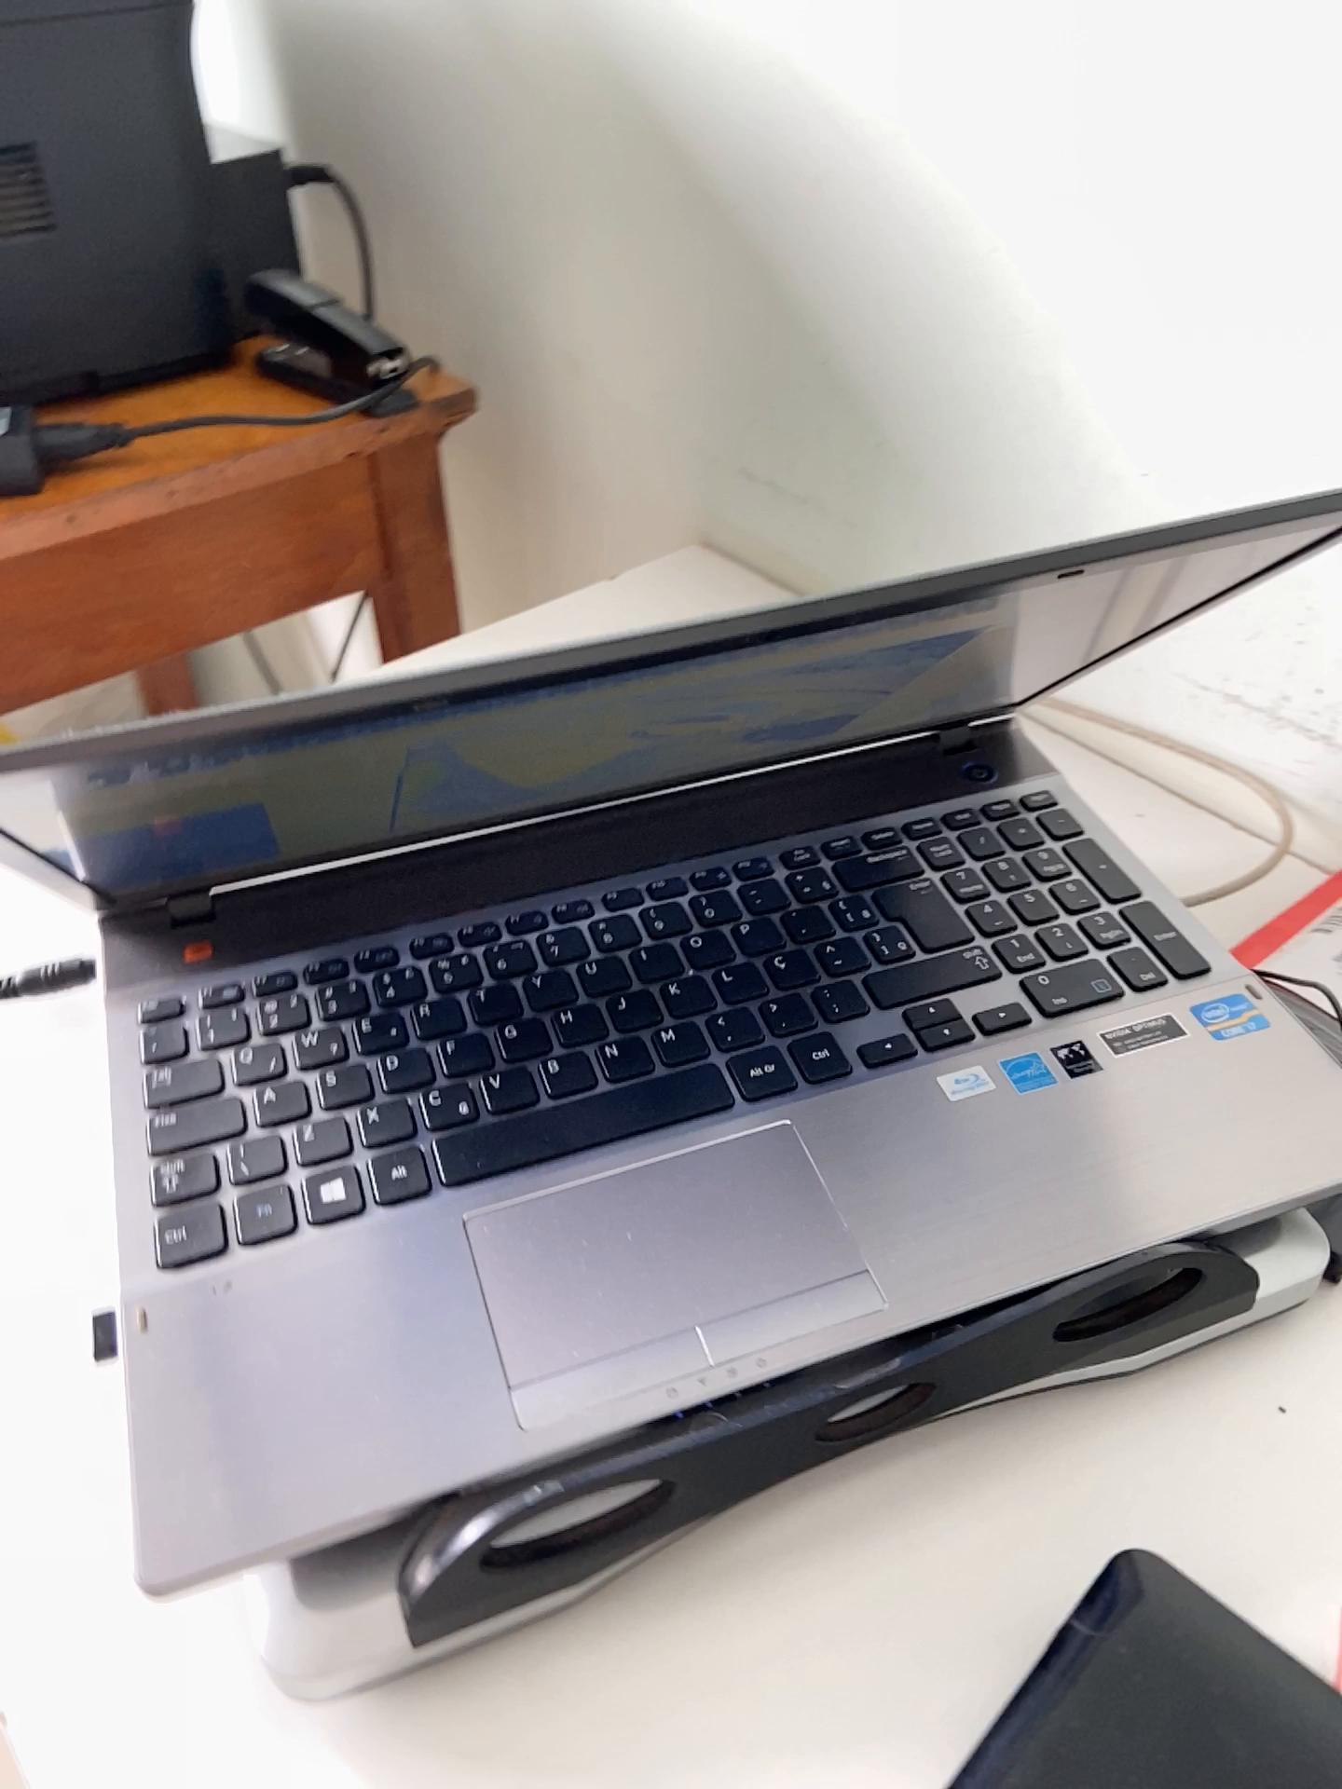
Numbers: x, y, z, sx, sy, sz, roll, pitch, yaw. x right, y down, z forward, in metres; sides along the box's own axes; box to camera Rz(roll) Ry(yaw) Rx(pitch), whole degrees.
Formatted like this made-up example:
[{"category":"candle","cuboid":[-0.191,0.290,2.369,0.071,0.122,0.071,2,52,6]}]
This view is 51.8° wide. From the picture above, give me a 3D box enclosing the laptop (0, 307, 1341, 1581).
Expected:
[{"category":"laptop","cuboid":[0.015,-0.021,0.392,0.359,0.164,0.231,-13,44,-16]}]
